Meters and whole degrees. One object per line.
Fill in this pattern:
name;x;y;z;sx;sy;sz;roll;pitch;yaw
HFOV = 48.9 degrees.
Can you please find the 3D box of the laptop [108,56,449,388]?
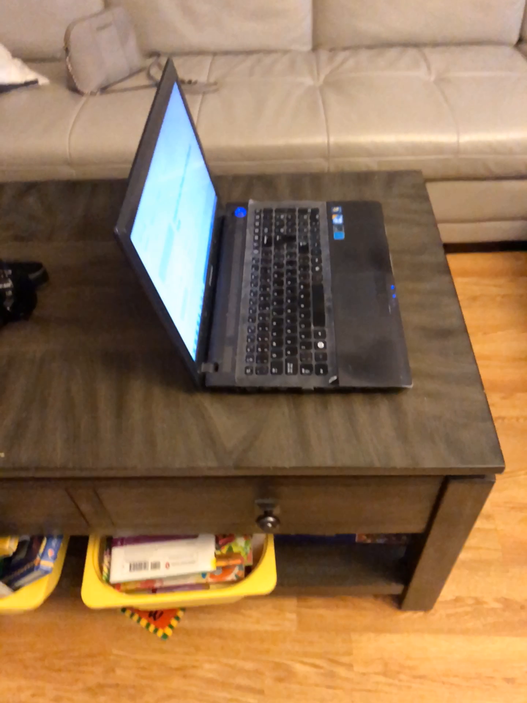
laptop;0.023;-0.173;0.735;0.308;0.231;0.369;-1;48;3
